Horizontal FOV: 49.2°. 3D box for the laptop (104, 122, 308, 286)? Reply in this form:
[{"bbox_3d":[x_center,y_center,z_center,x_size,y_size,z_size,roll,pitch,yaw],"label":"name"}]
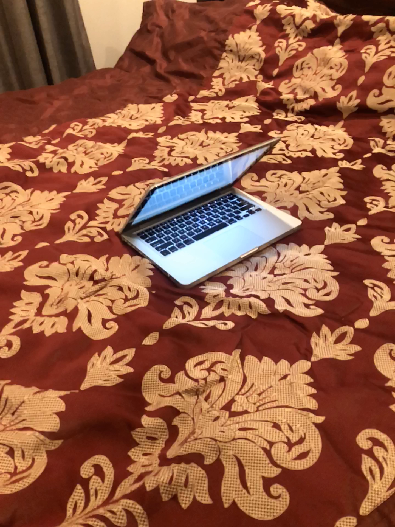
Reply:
[{"bbox_3d":[0.023,-0.134,0.835,0.312,0.156,0.212,-28,43,-30],"label":"laptop"}]
